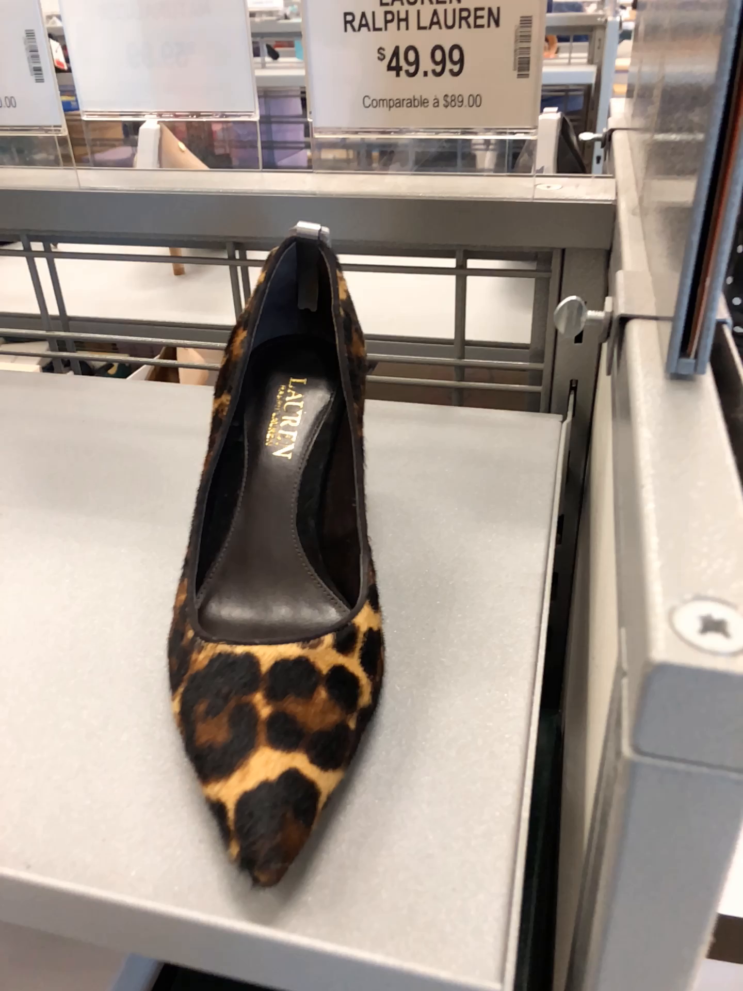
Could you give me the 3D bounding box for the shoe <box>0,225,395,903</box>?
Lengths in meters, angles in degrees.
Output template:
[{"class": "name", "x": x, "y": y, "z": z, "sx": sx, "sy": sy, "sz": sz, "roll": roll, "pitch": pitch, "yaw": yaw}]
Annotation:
[{"class": "shoe", "x": -0.038, "y": -0.006, "z": 0.327, "sx": 0.090, "sy": 0.129, "sz": 0.272, "roll": 0, "pitch": 32, "yaw": 3}]
